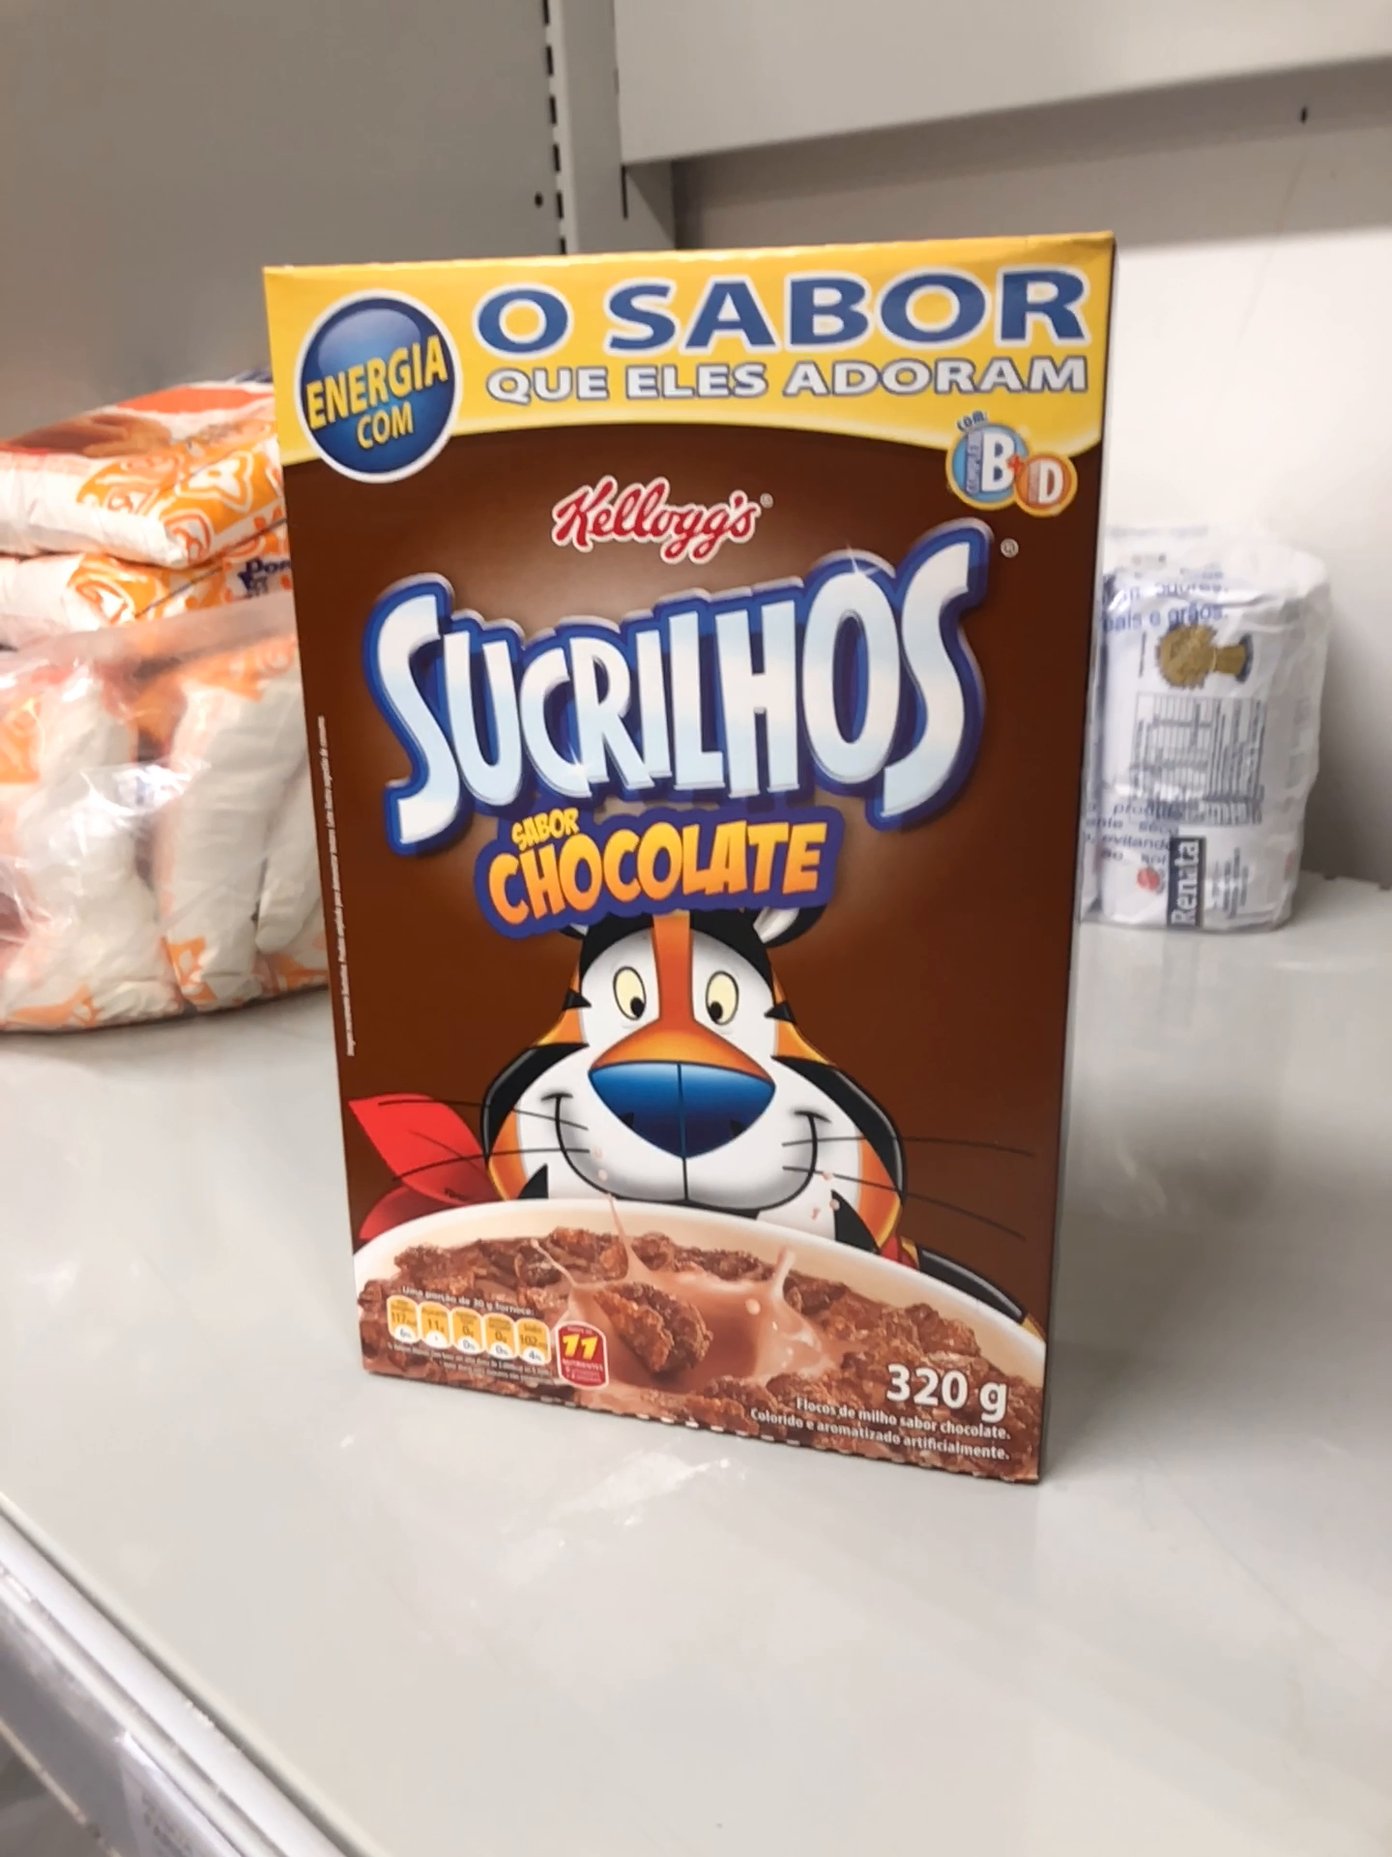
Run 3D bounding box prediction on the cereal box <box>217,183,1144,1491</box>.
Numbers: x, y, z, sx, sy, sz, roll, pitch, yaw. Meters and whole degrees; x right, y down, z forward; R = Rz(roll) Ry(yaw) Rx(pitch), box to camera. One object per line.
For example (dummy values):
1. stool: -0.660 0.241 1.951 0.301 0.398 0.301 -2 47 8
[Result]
1. cereal box: 0.002 -0.018 0.361 0.180 0.268 0.070 4 19 15
